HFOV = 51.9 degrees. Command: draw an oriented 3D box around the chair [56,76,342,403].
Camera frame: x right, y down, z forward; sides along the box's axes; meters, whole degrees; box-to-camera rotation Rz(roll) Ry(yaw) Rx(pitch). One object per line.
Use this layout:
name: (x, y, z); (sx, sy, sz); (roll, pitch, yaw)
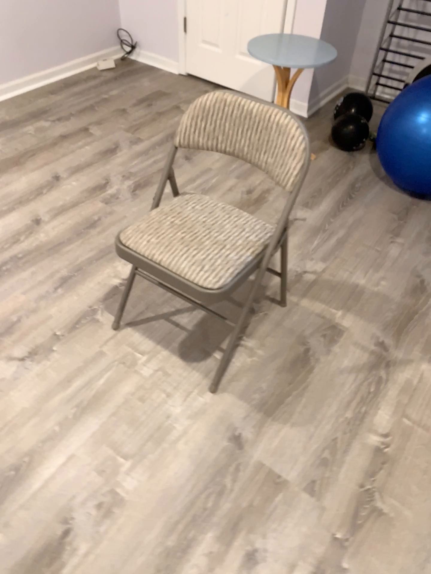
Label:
chair: (-0.028, -0.160, 1.410); (0.502, 0.708, 0.588); (27, 50, 23)
